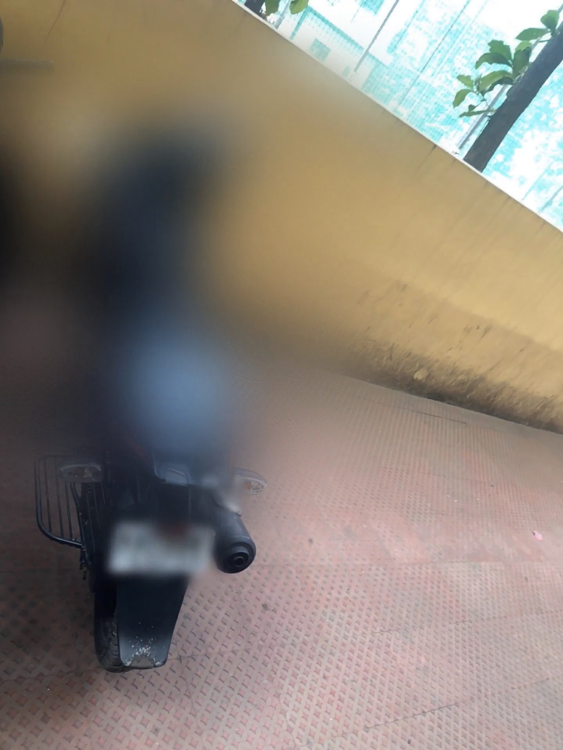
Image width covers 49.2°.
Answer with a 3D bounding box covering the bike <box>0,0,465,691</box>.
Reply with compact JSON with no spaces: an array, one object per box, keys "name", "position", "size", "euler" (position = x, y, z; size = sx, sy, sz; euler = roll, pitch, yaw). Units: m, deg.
[{"name":"bike","position":[-0.513,-0.195,1.746],"size":[0.827,1.058,1.610],"euler":[16,33,-36]}]
